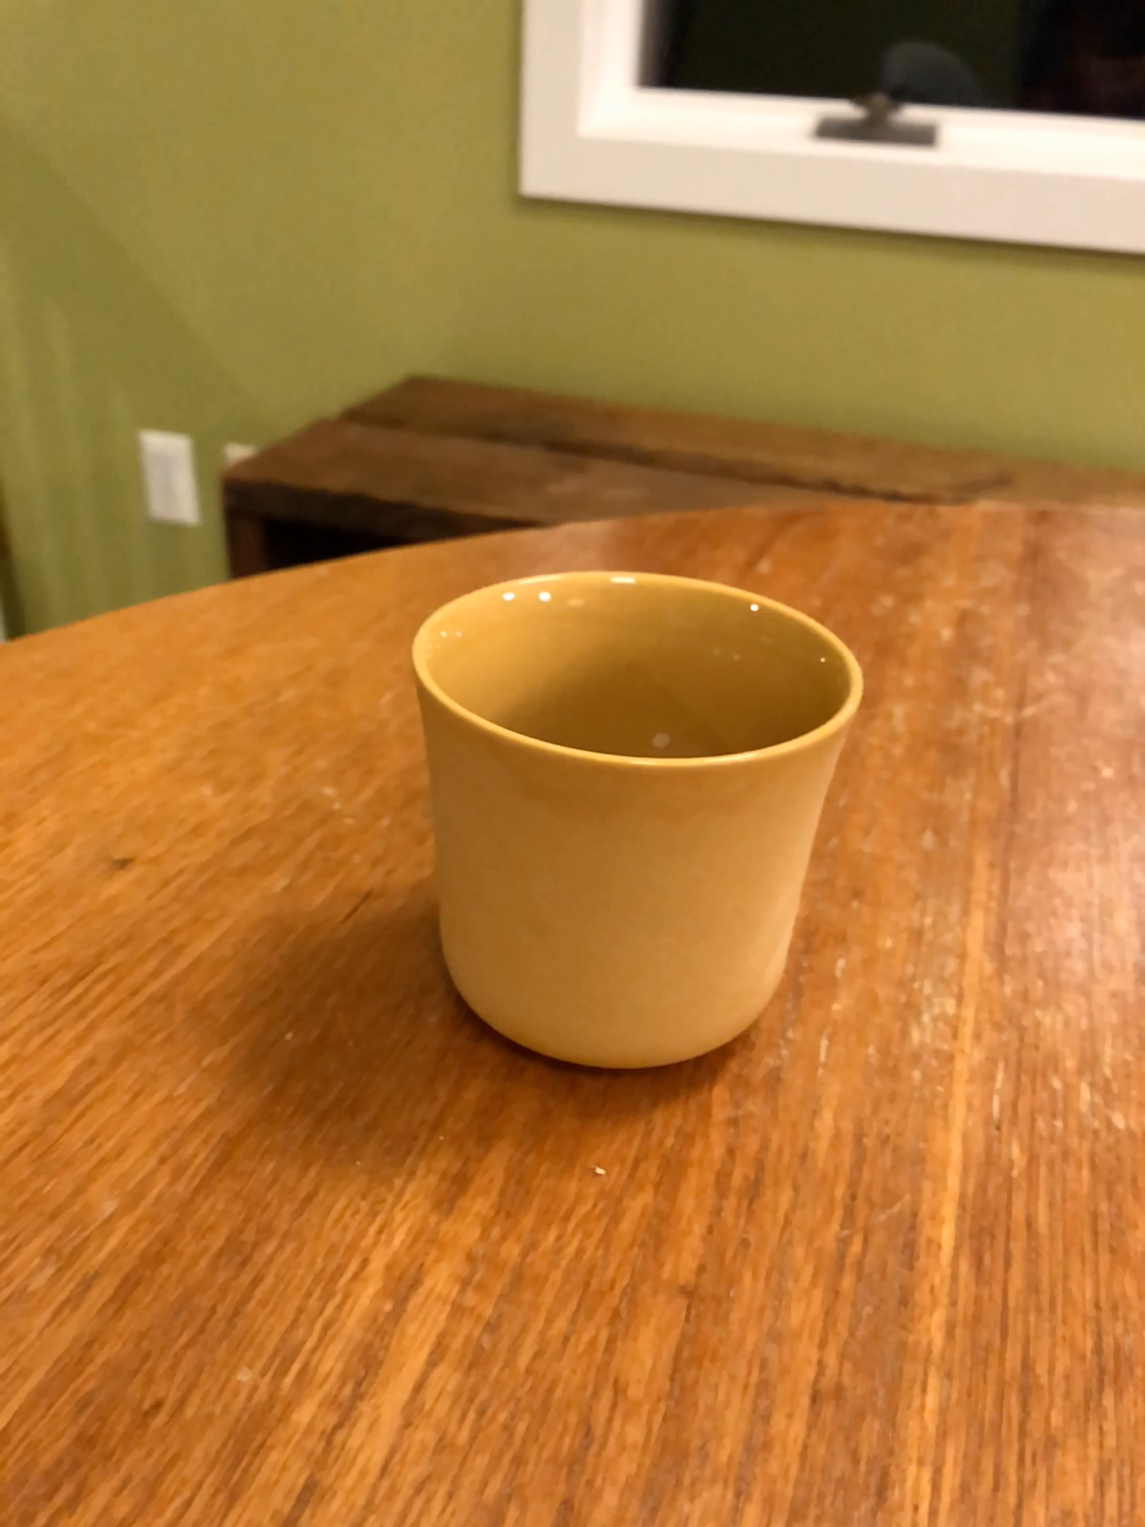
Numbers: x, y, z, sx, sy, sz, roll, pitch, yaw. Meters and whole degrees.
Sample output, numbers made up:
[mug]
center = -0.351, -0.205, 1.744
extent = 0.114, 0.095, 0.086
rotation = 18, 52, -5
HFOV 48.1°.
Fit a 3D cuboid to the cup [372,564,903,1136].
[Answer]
[cup]
center = 0.009, 0.013, 0.236
extent = 0.077, 0.073, 0.074
rotation = 2, 29, -1
